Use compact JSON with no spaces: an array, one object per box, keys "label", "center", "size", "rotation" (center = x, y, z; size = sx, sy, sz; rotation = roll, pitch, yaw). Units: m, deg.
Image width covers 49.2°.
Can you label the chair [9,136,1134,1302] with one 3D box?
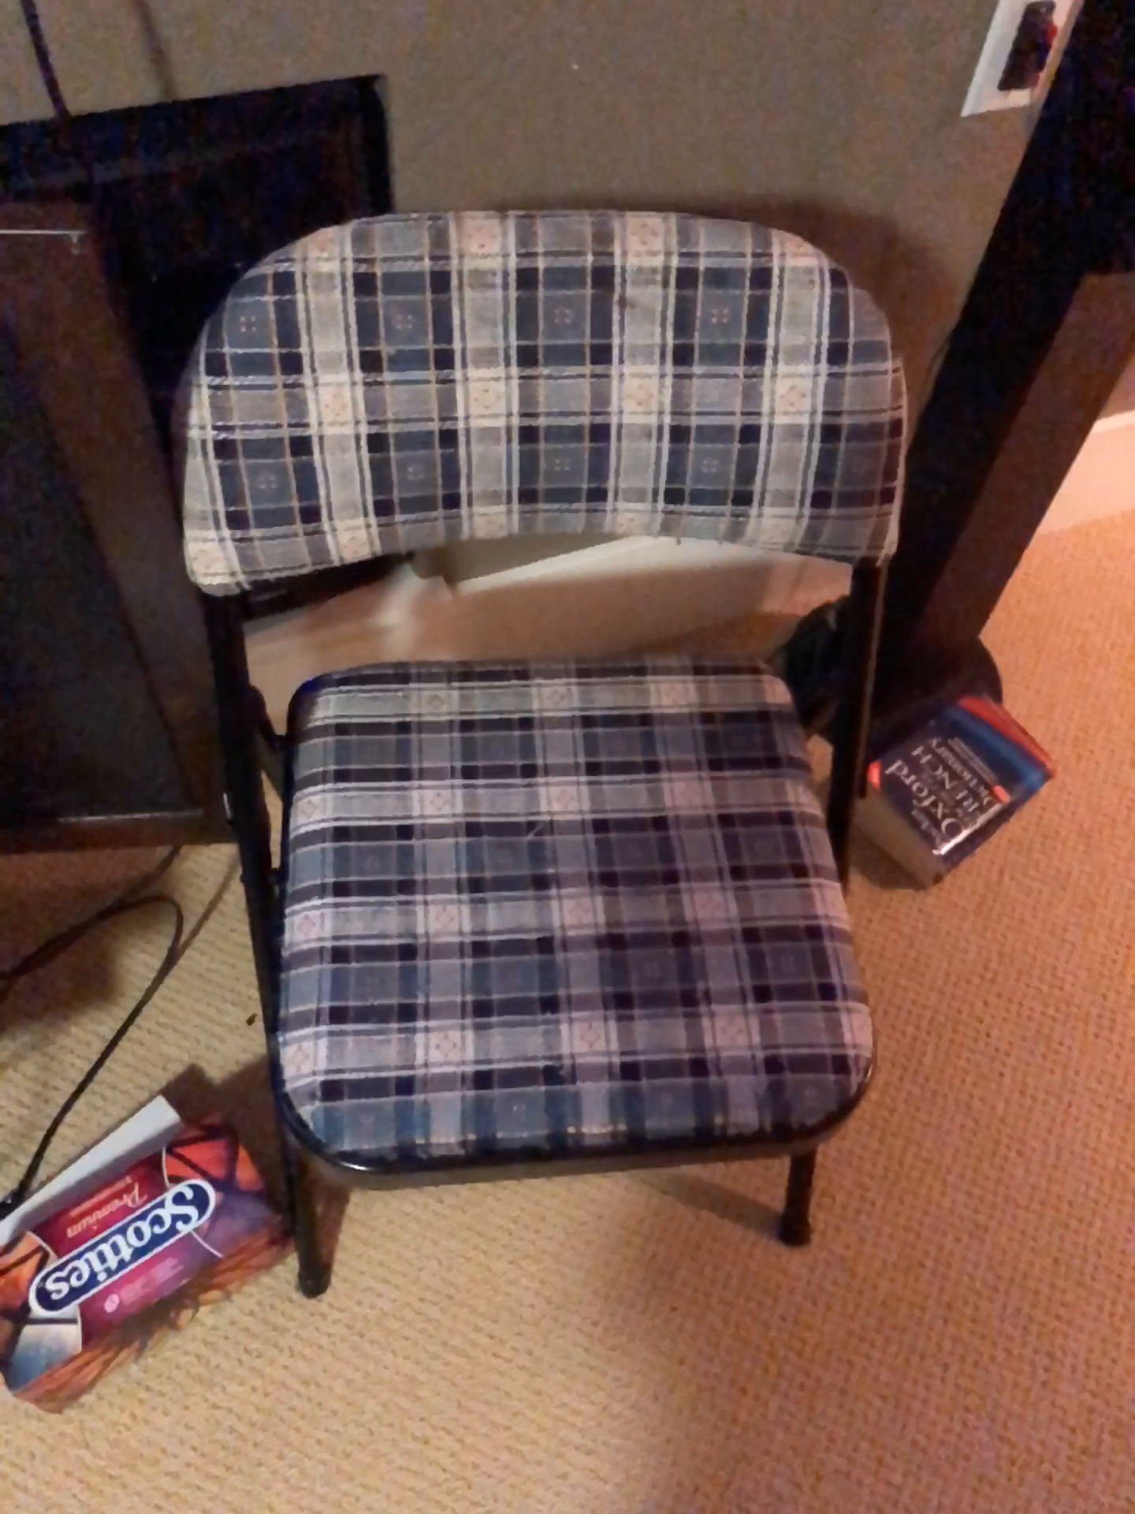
[{"label":"chair","center":[0.001,0.039,0.935],"size":[0.500,0.707,0.563],"rotation":[-1,58,-5]}]
